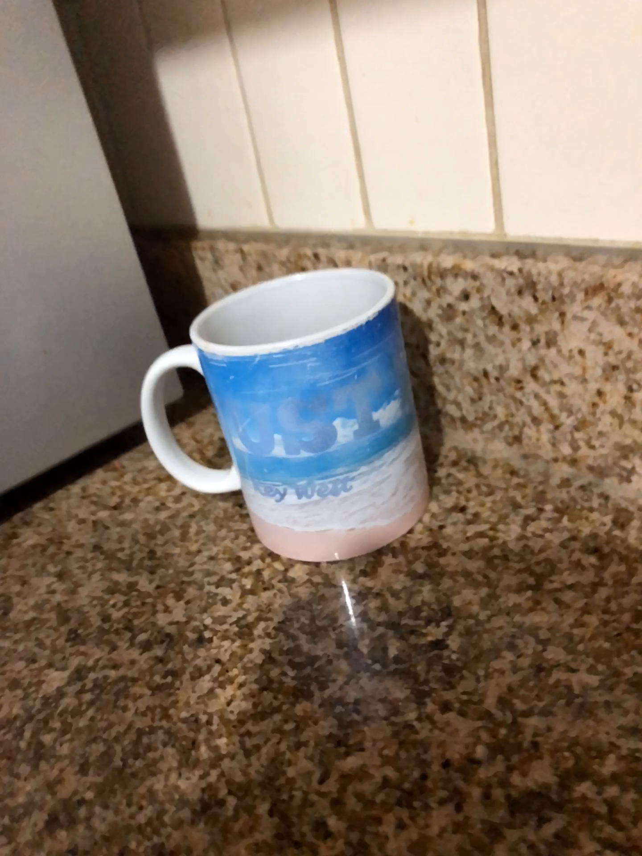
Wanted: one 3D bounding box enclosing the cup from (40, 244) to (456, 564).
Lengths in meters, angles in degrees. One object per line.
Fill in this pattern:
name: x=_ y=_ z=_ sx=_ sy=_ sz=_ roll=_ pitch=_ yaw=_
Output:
cup: x=-0.019 y=-0.010 z=0.294 sx=0.130 sy=0.090 sz=0.090 roll=-4 pitch=28 yaw=17
